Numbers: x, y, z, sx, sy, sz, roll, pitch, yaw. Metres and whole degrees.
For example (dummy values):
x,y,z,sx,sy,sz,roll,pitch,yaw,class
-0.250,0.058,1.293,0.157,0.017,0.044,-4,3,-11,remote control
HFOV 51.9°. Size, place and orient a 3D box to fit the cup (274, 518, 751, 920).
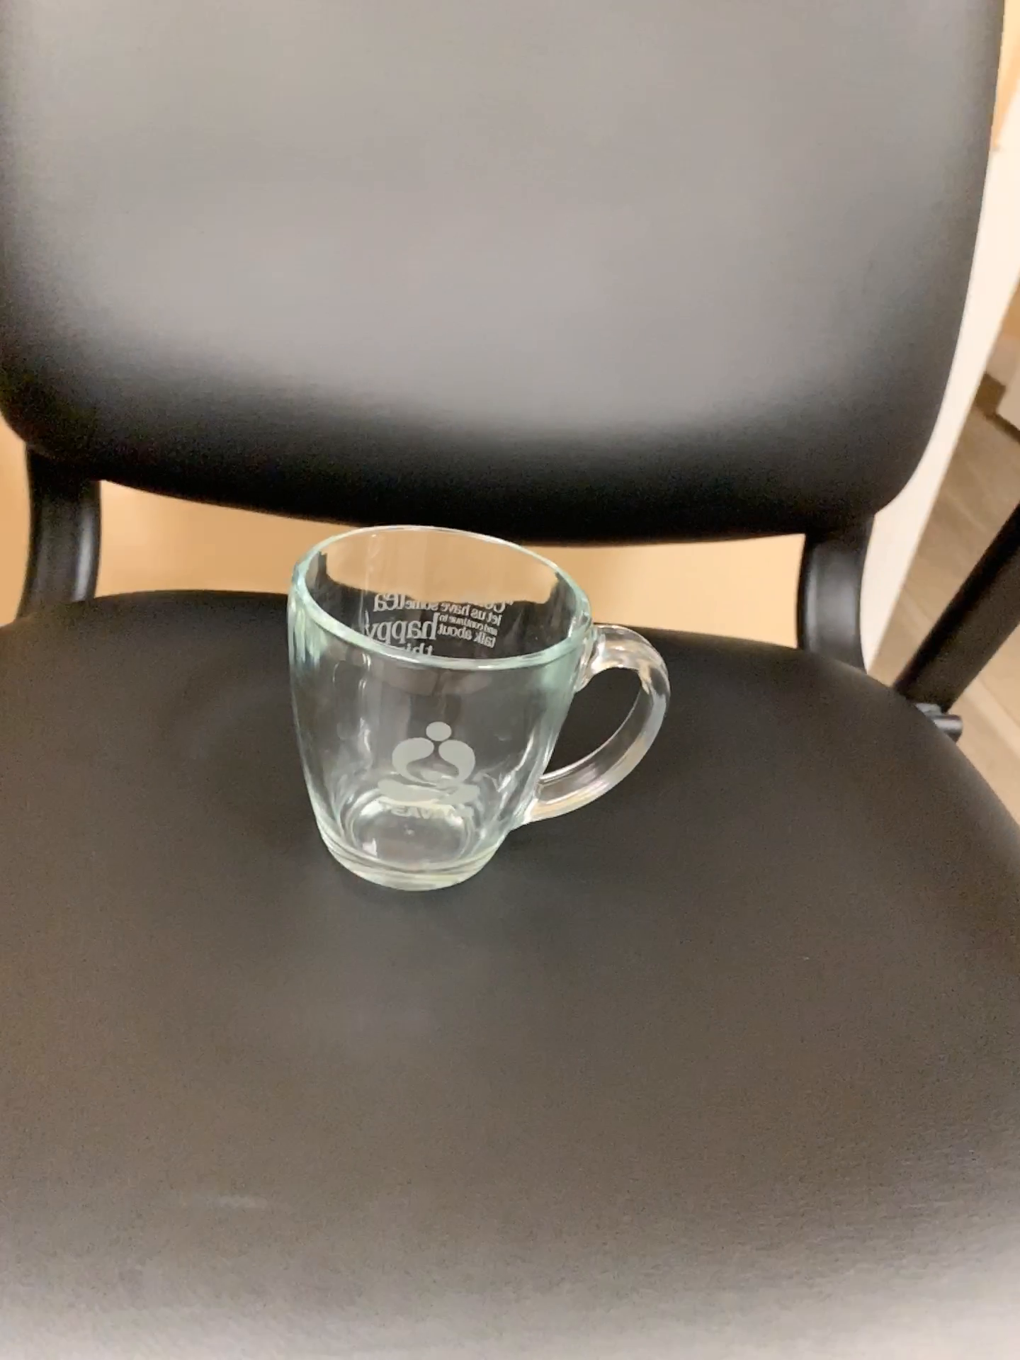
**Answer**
x,y,z,sx,sy,sz,roll,pitch,yaw,class
-0.010,0.012,0.372,0.139,0.100,0.096,2,30,-14,cup
